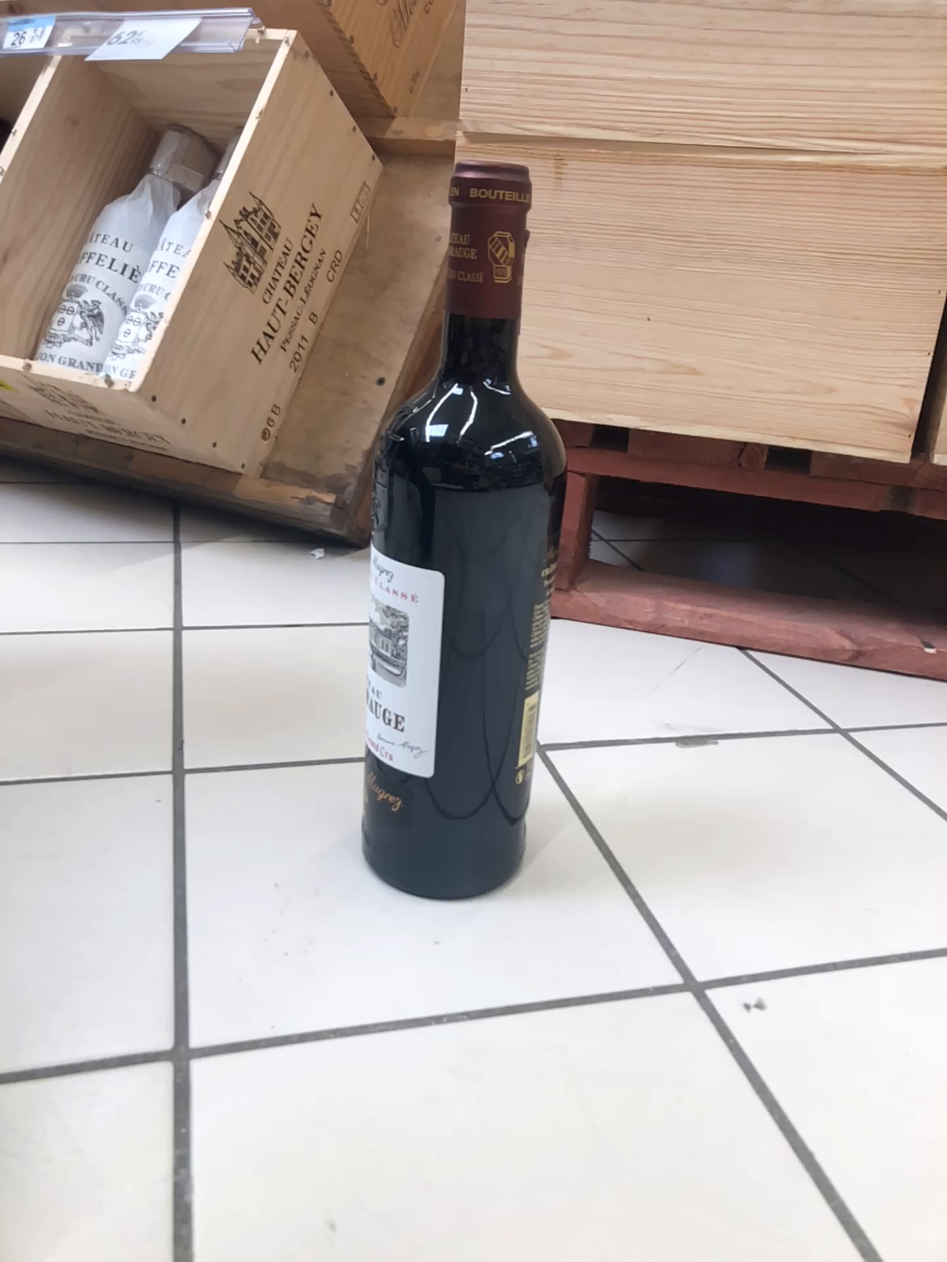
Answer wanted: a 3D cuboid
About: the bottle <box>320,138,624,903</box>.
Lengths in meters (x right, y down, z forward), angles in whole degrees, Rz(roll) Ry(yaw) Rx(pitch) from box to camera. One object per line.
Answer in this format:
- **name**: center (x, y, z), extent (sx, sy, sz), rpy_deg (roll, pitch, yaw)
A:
- **bottle**: center (-0.013, -0.038, 0.429), extent (0.090, 0.289, 0.090), rpy_deg (4, 21, -2)
